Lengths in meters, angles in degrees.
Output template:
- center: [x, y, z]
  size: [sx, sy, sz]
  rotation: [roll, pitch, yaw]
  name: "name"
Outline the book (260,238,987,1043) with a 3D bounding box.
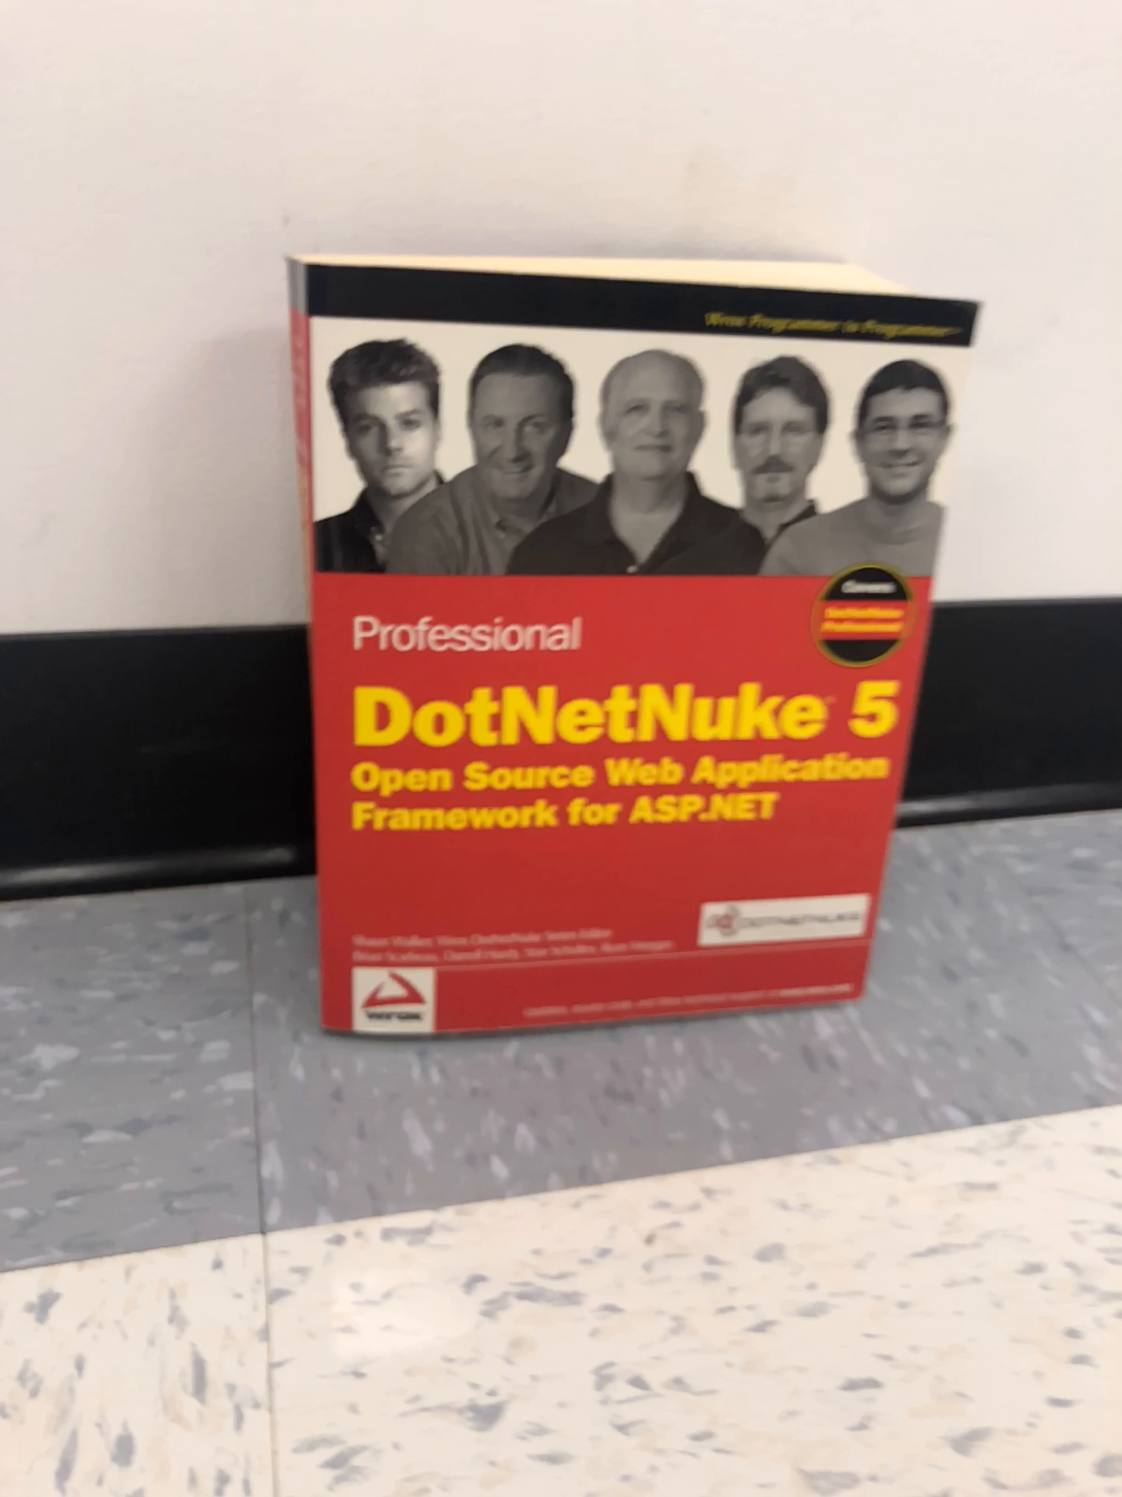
- center: [0.012, -0.031, 0.420]
  size: [0.210, 0.249, 0.060]
  rotation: [-1, 20, -11]
  name: "book"
